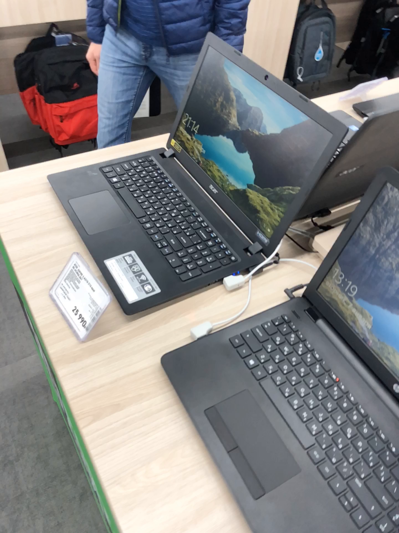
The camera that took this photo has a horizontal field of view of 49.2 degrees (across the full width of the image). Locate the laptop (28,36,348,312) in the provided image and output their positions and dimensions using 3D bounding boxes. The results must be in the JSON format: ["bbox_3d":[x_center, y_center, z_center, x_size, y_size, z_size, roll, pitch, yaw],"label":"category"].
[{"bbox_3d":[-0.041,-0.187,0.737,0.348,0.219,0.375,-20,51,-23],"label":"laptop"}]

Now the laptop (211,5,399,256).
[{"bbox_3d":[0.305,-0.294,0.843,0.402,0.250,0.396,-21,50,-23],"label":"laptop"}]

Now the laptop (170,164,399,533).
[{"bbox_3d":[0.175,0.122,0.456,0.295,0.221,0.360,-21,51,-21],"label":"laptop"}]
